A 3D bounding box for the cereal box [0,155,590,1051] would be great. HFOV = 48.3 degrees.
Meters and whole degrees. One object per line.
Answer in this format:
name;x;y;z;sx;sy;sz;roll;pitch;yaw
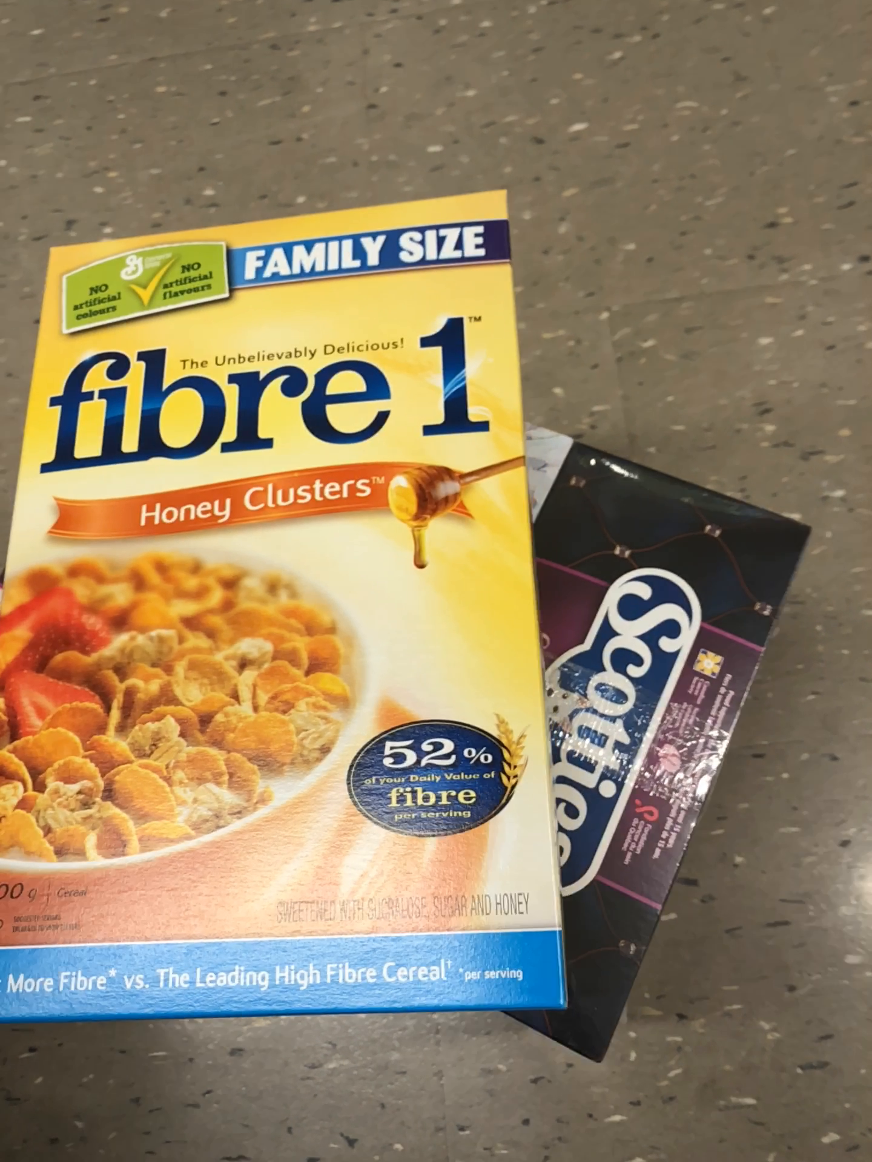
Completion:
cereal box;-0.057;-0.001;0.376;0.200;0.080;0.320;-5;67;6
